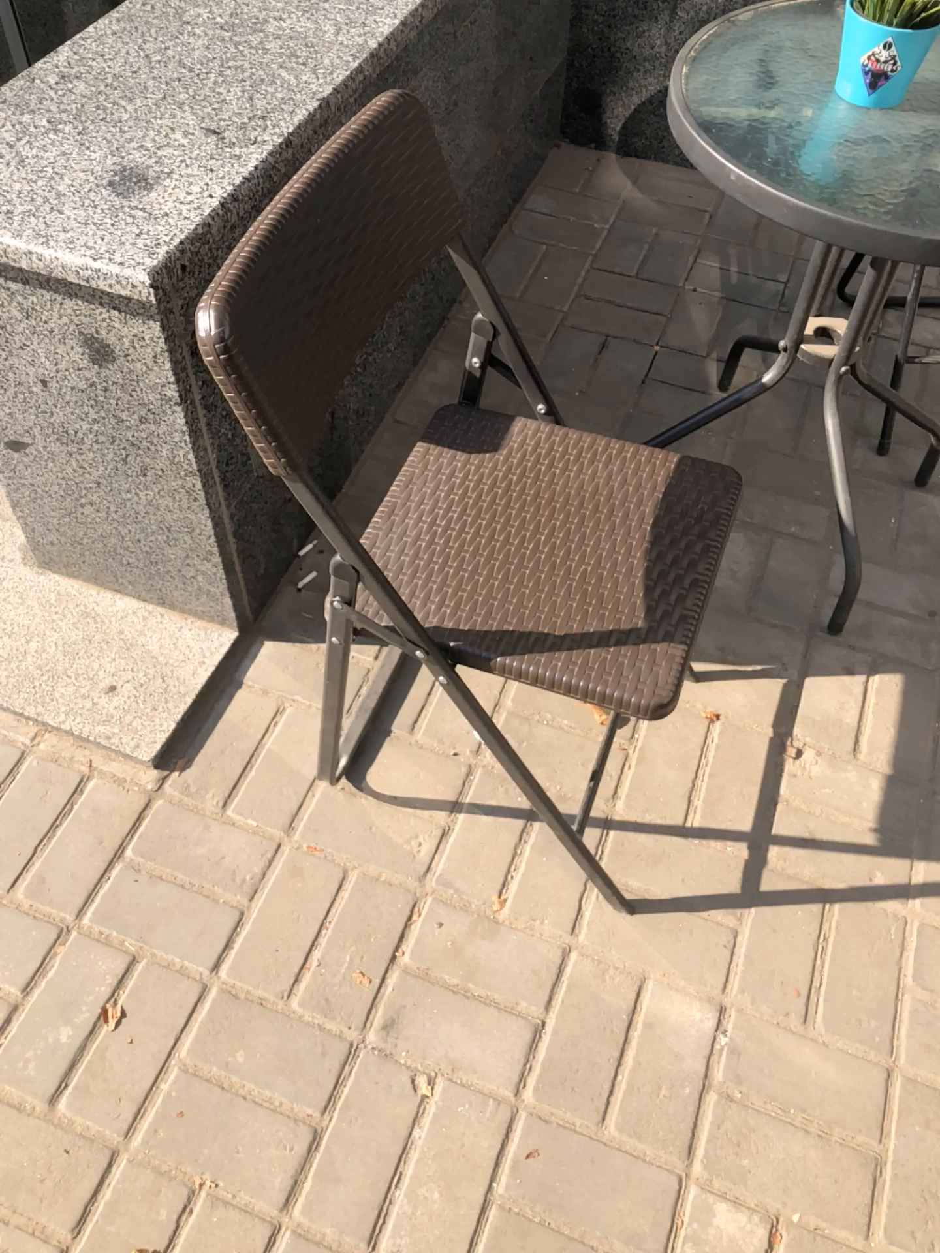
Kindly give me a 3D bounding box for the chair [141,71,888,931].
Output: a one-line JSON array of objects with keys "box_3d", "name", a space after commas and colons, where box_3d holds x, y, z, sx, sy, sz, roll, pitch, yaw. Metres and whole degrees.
[{"box_3d": [0.060, -0.095, 1.154, 0.510, 0.748, 0.451, 16, 53, 11], "name": "chair"}]
